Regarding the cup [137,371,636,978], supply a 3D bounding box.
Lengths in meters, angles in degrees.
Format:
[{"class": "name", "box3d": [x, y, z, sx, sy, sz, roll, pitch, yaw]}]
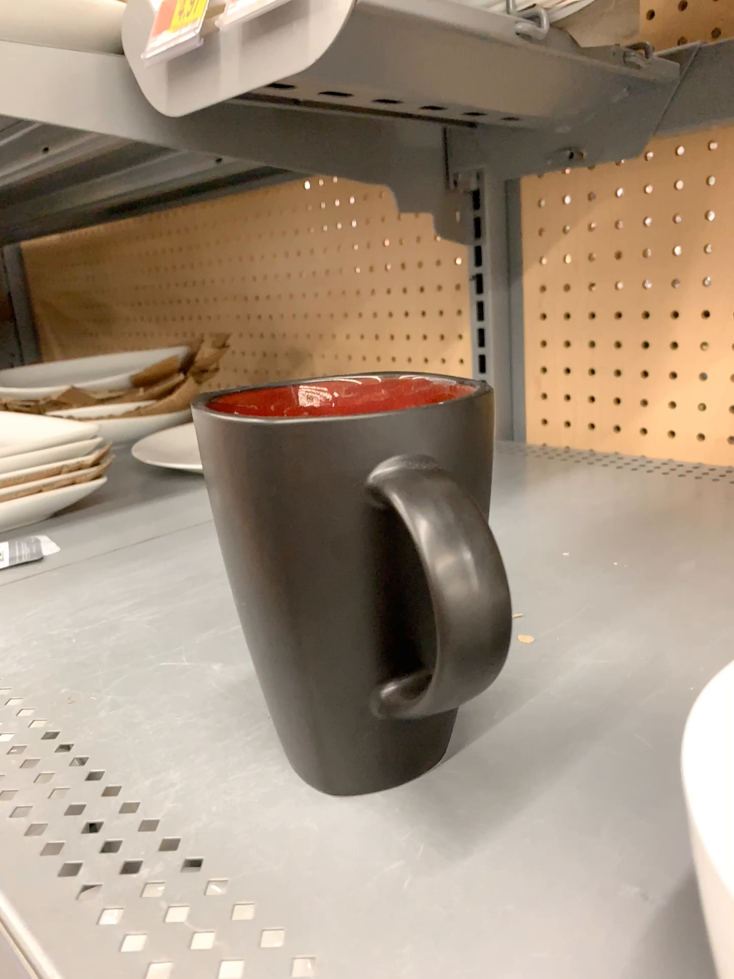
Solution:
[{"class": "cup", "box3d": [0.000, 0.037, 0.239, 0.090, 0.130, 0.130, -13, 17, -29]}]
